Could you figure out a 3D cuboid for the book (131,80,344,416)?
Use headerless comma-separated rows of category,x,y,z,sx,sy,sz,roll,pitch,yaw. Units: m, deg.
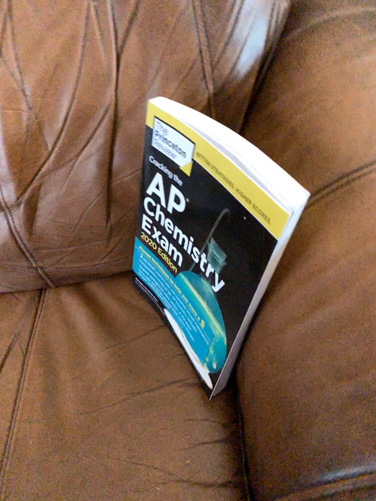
book,0.012,0.015,0.443,0.040,0.319,0.241,-23,53,-26
